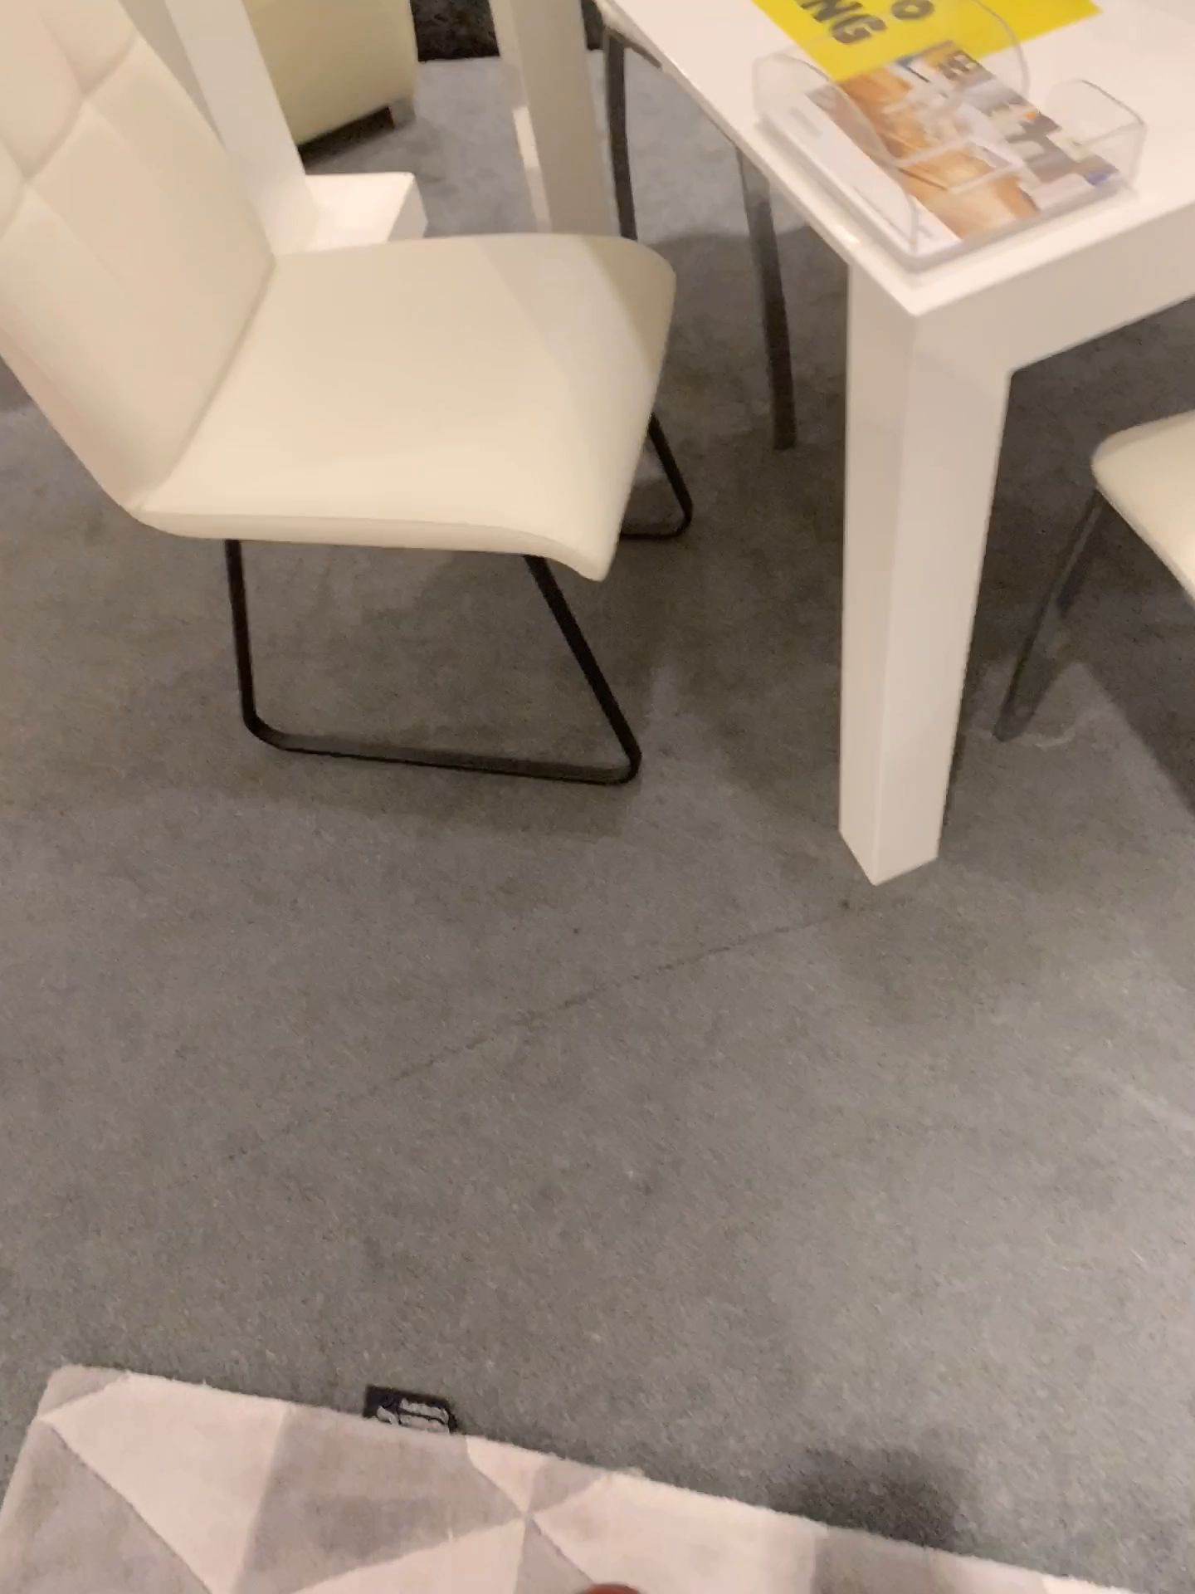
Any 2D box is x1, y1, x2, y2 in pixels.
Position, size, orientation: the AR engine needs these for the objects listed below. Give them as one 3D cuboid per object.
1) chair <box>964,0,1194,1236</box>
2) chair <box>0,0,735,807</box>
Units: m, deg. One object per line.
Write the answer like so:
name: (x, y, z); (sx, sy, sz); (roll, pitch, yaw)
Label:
chair: (0.690, -0.185, 0.869); (0.487, 0.939, 0.613); (-23, 57, -5)
chair: (-0.208, -0.455, 1.180); (0.570, 0.910, 0.480); (5, 59, 13)
